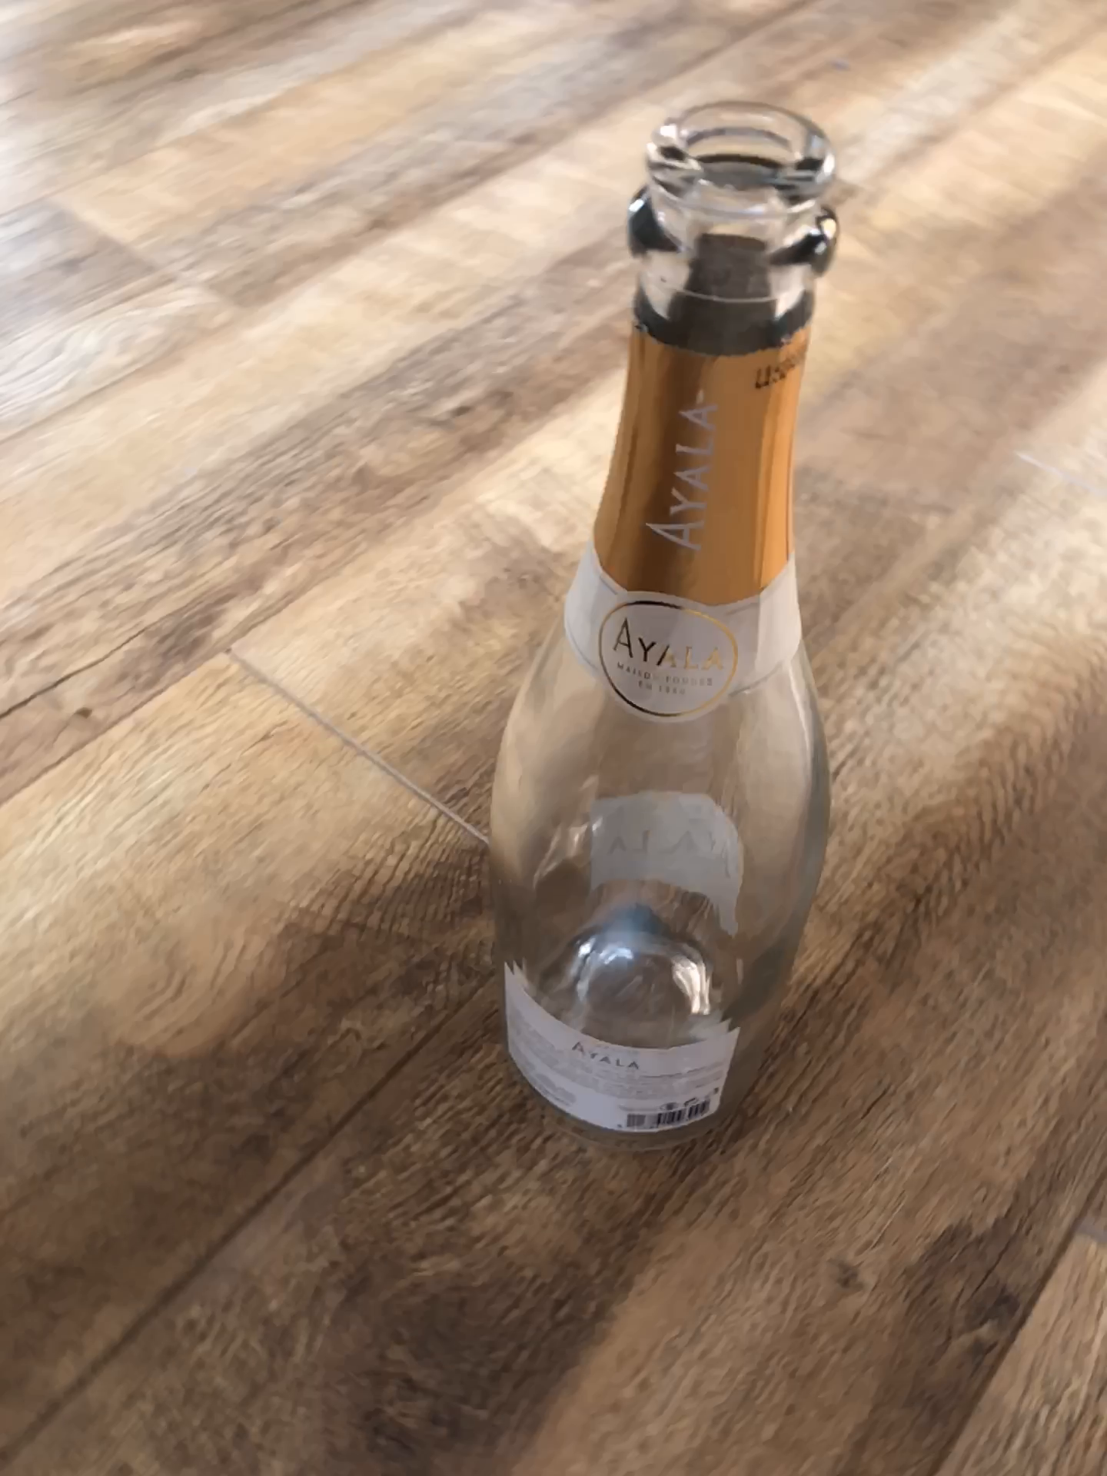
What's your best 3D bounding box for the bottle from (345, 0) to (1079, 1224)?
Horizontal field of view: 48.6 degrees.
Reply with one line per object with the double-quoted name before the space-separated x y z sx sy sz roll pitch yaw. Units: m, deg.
"bottle" 0.027 0.009 0.293 0.090 0.298 0.091 0 51 -1
